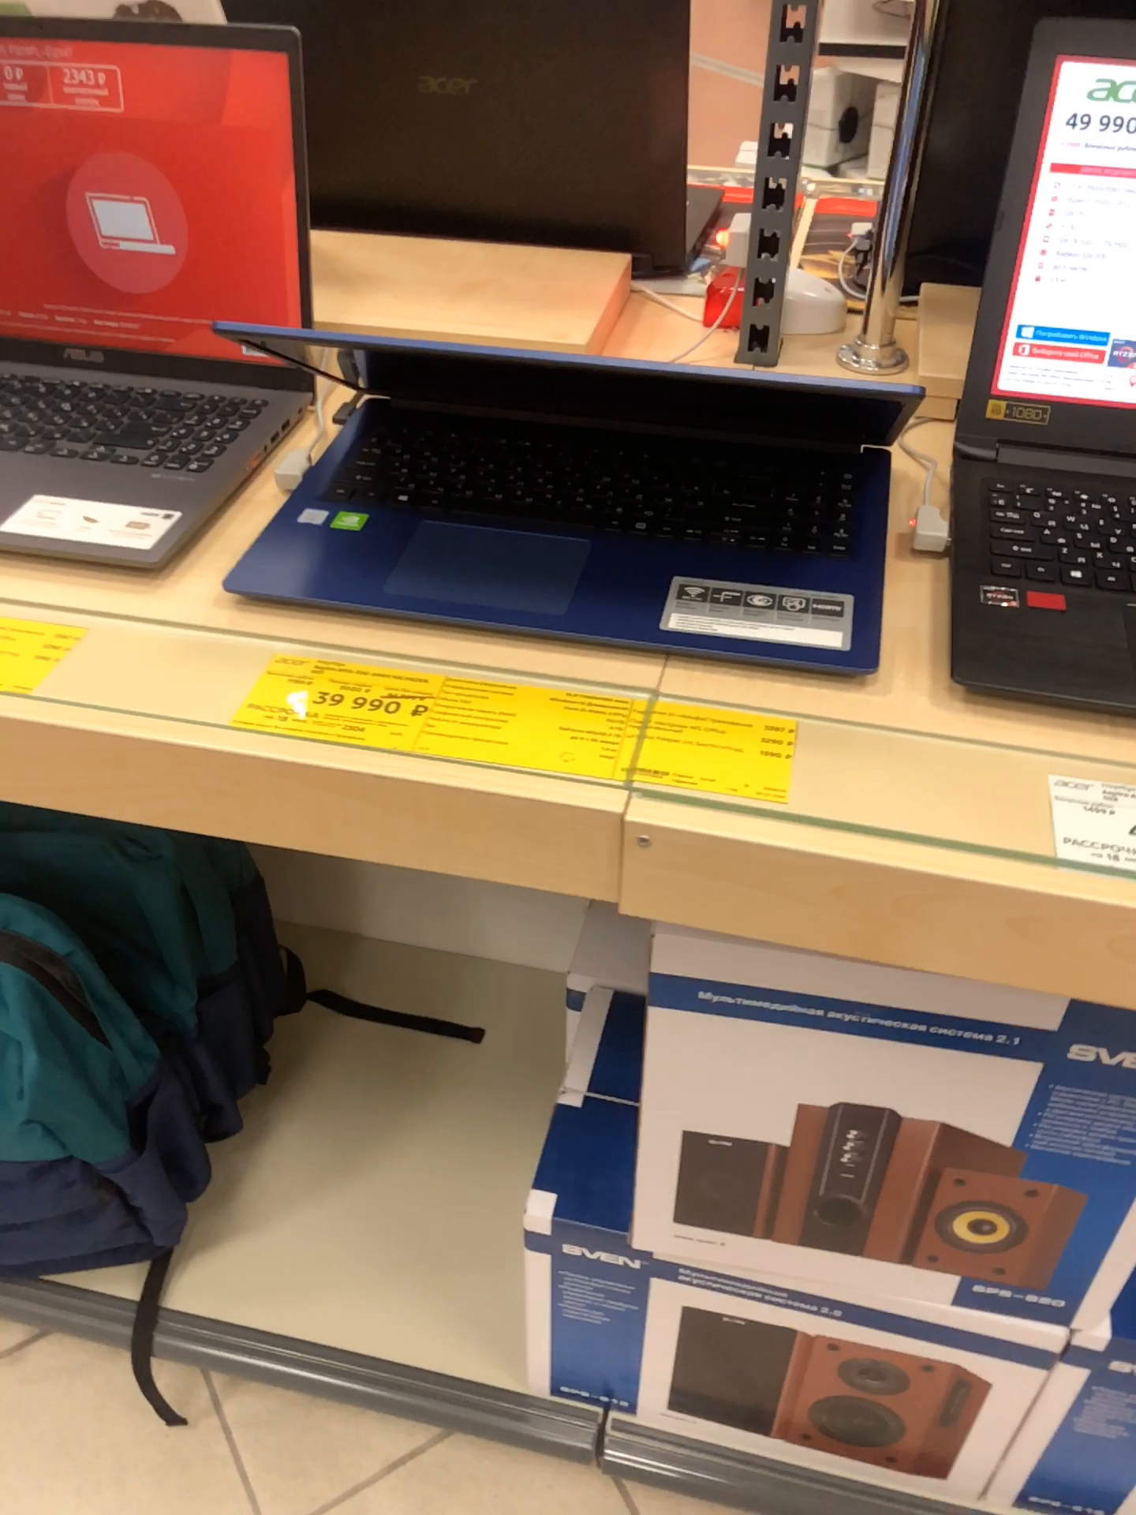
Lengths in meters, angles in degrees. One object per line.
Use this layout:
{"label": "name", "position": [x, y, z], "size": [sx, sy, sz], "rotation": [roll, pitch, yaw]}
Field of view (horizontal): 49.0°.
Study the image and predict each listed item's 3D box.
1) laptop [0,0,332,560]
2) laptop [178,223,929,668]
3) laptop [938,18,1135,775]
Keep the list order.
{"label": "laptop", "position": [-0.407, -0.329, 0.808], "size": [0.390, 0.206, 0.304], "rotation": [9, 43, 10]}
{"label": "laptop", "position": [0.008, -0.198, 0.729], "size": [0.367, 0.126, 0.247], "rotation": [8, 41, 11]}
{"label": "laptop", "position": [0.414, -0.219, 0.654], "size": [0.357, 0.226, 0.355], "rotation": [10, 41, 13]}
